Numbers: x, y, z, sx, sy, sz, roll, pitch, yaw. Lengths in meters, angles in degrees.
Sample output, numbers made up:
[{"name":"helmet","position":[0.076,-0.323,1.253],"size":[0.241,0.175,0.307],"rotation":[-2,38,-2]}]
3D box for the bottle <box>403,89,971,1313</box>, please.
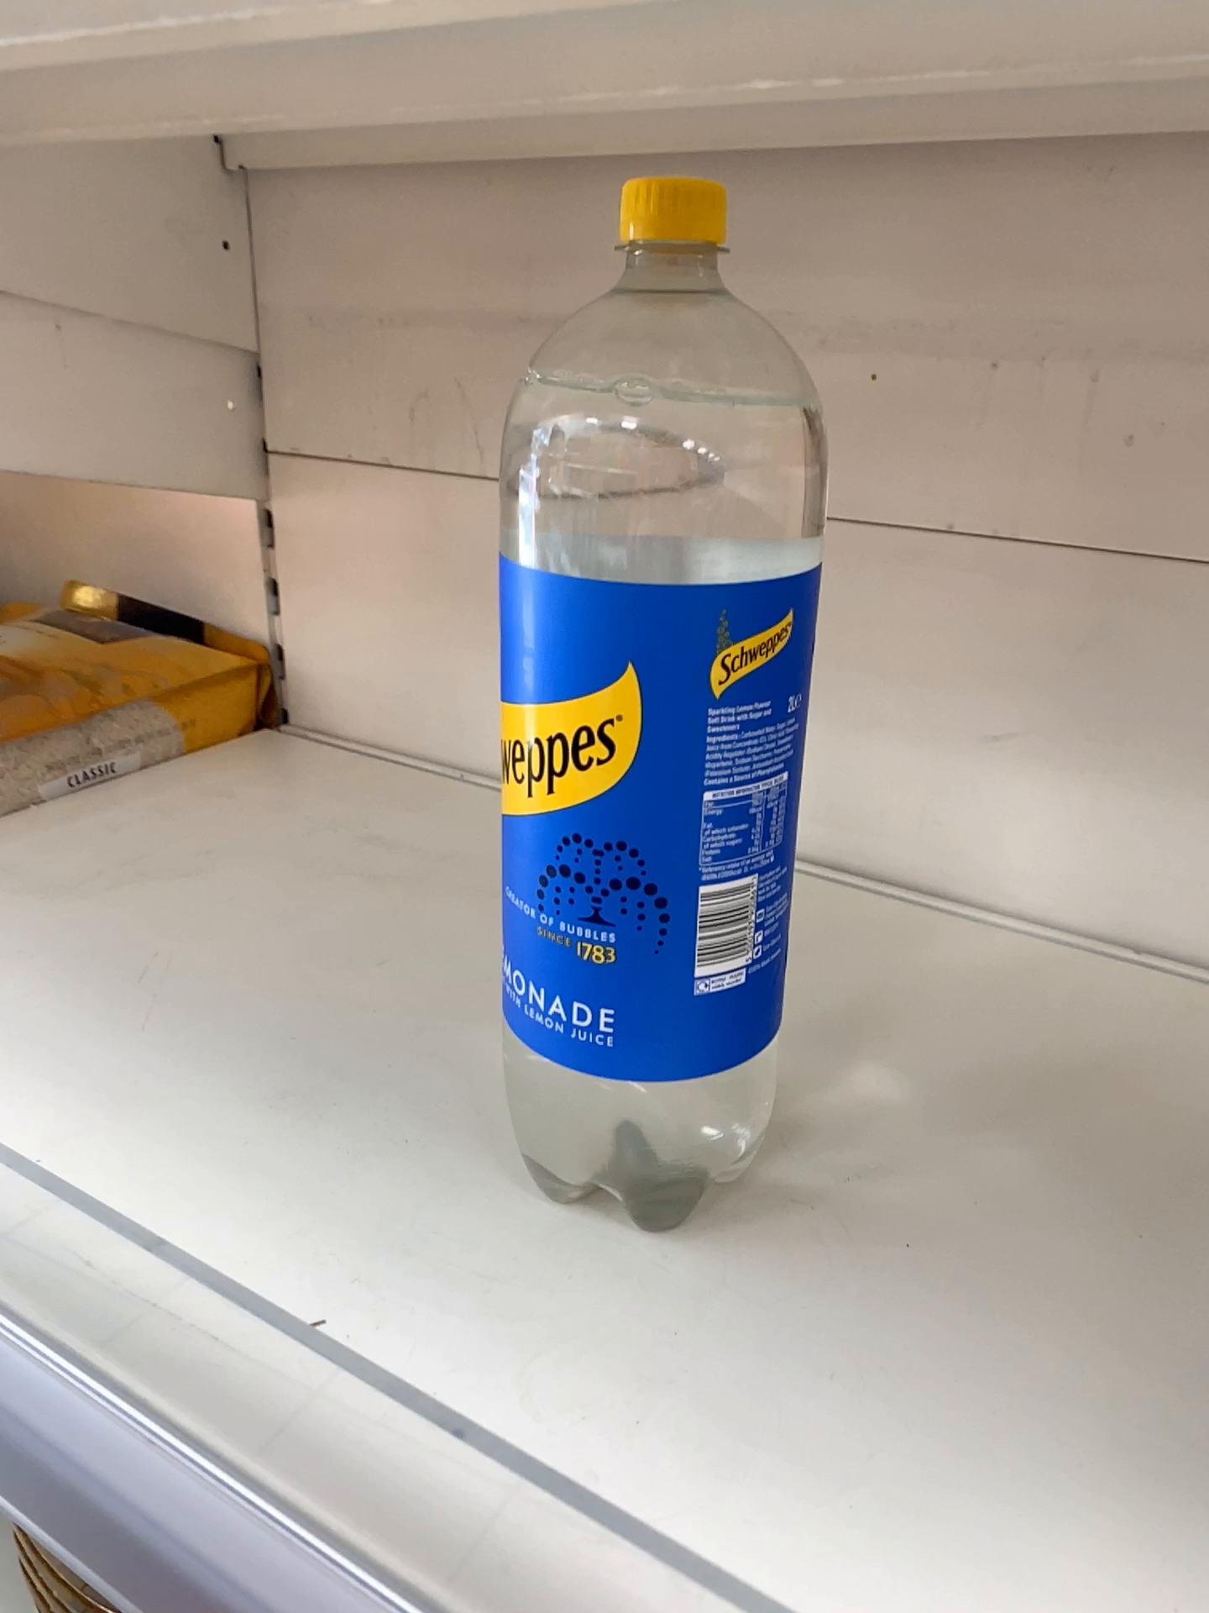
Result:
[{"name":"bottle","position":[0.014,-0.026,0.389],"size":[0.110,0.327,0.111],"rotation":[1,21,0]}]
